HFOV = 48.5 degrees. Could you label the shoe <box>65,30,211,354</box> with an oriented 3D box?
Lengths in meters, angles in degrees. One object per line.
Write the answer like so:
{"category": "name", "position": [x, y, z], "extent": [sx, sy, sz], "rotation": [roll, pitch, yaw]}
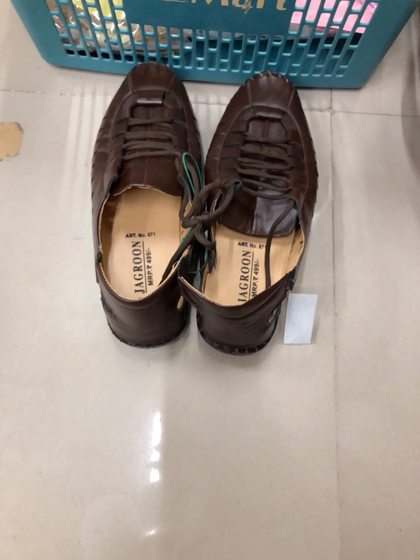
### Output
{"category": "shoe", "position": [-0.058, -0.076, 0.426], "extent": [0.107, 0.101, 0.273], "rotation": [-1, 75, -2]}

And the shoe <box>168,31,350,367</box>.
{"category": "shoe", "position": [0.045, -0.070, 0.427], "extent": [0.112, 0.101, 0.273], "rotation": [10, 75, 1]}
